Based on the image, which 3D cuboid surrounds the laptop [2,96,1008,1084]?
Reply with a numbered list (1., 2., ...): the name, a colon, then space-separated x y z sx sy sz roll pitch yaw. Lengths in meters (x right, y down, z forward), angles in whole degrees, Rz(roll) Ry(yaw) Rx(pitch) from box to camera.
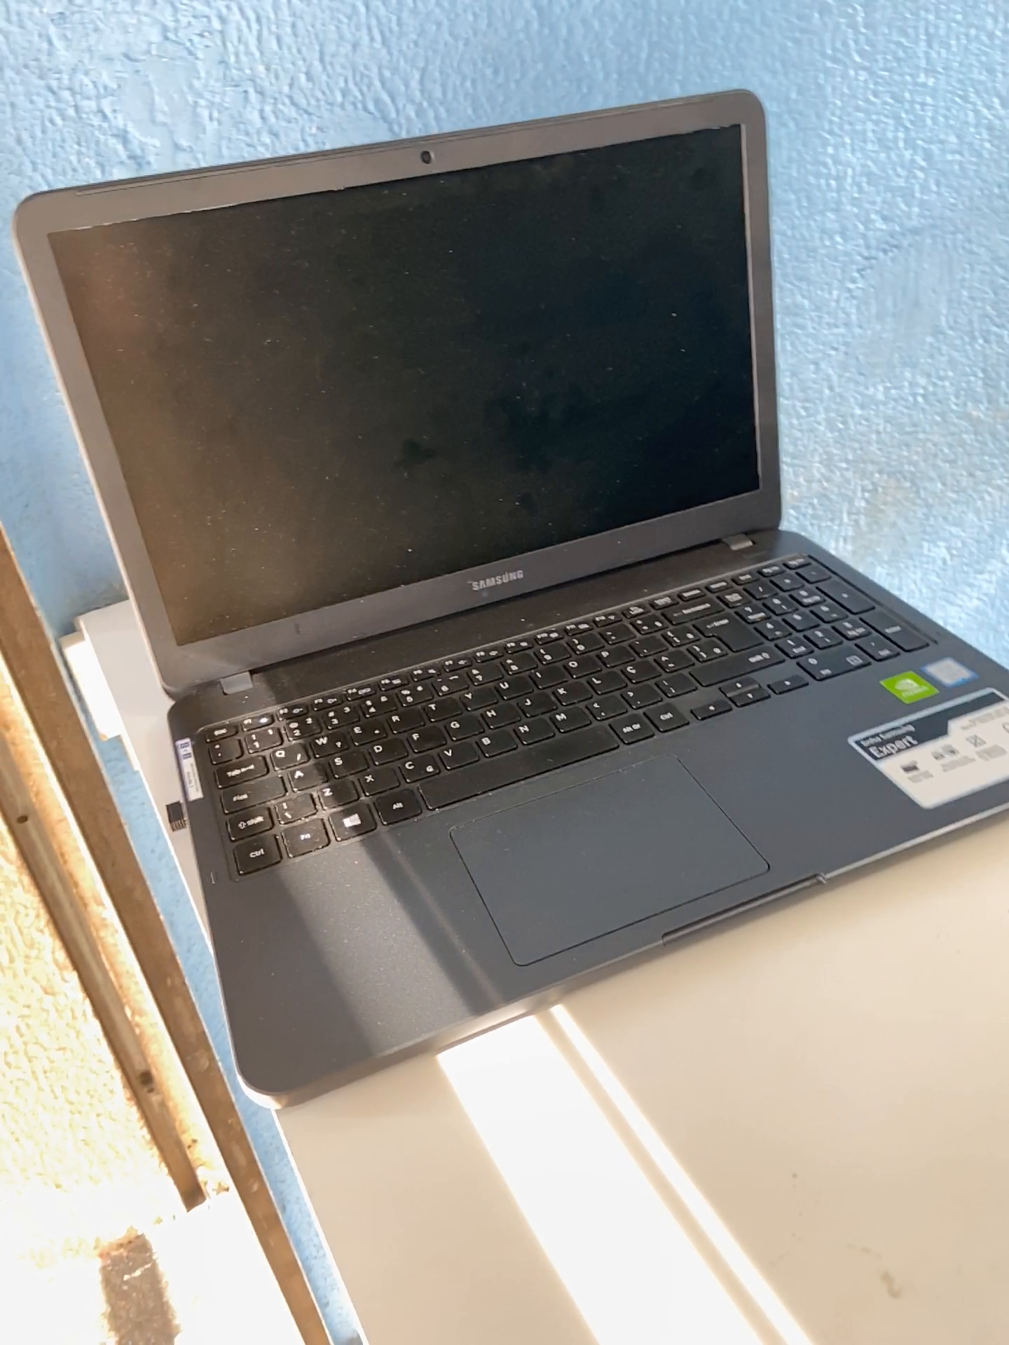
1. laptop: 0.024 -0.082 0.443 0.371 0.232 0.288 -17 35 -15
